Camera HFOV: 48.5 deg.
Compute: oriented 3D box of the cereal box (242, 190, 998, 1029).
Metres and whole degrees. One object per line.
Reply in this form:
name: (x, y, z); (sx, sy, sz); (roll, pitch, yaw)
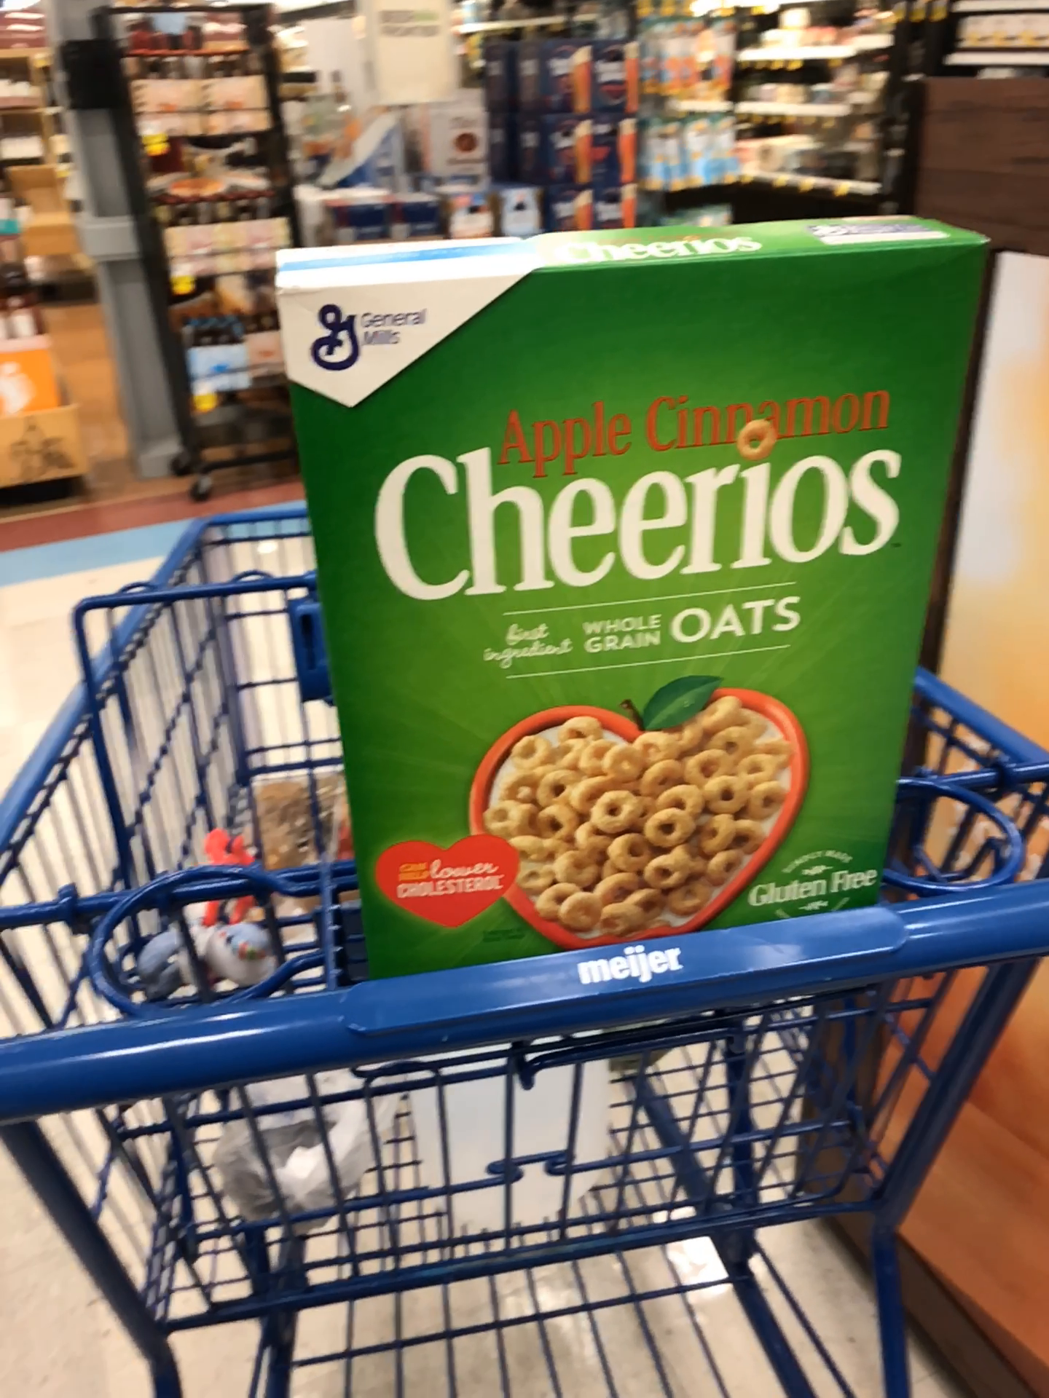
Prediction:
cereal box: (0.030, -0.021, 0.400); (0.210, 0.269, 0.050); (-7, 30, -10)
